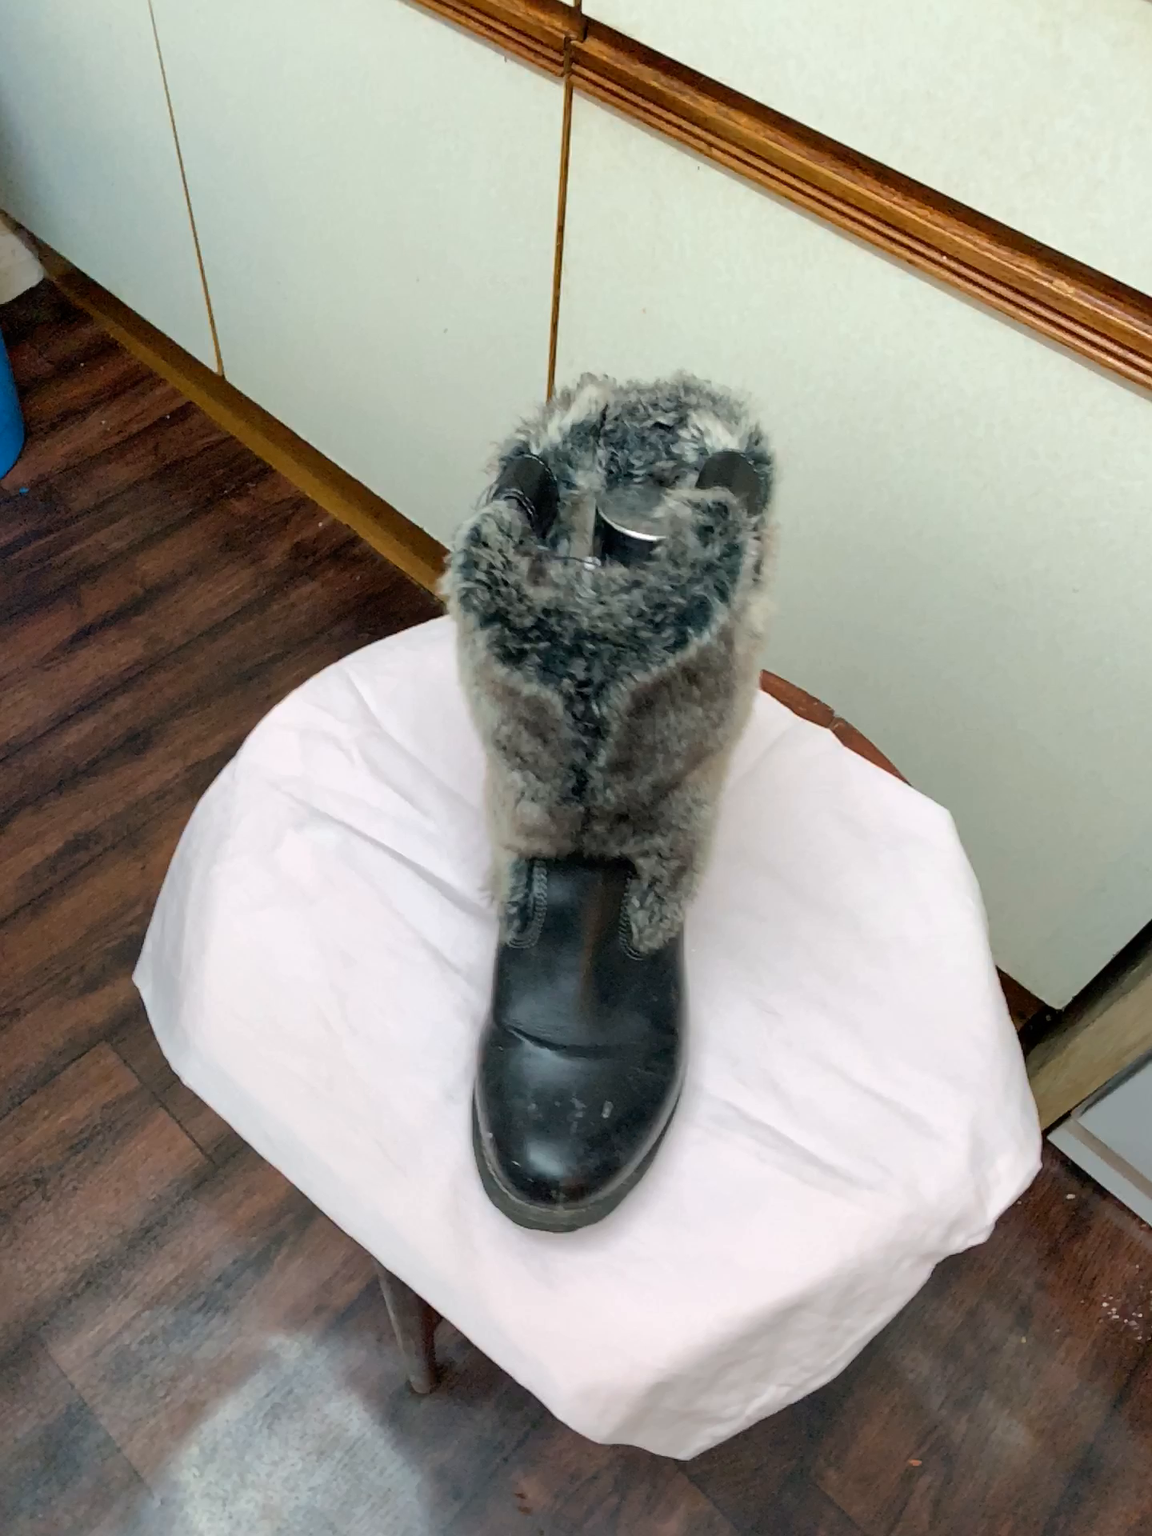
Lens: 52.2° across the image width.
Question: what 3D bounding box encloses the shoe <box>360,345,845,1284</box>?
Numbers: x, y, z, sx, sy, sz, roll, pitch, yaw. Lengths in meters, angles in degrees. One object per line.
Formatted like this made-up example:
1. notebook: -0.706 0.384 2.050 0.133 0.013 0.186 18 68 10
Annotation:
1. shoe: 0.014 0.025 0.465 0.120 0.238 0.272 8 54 1
